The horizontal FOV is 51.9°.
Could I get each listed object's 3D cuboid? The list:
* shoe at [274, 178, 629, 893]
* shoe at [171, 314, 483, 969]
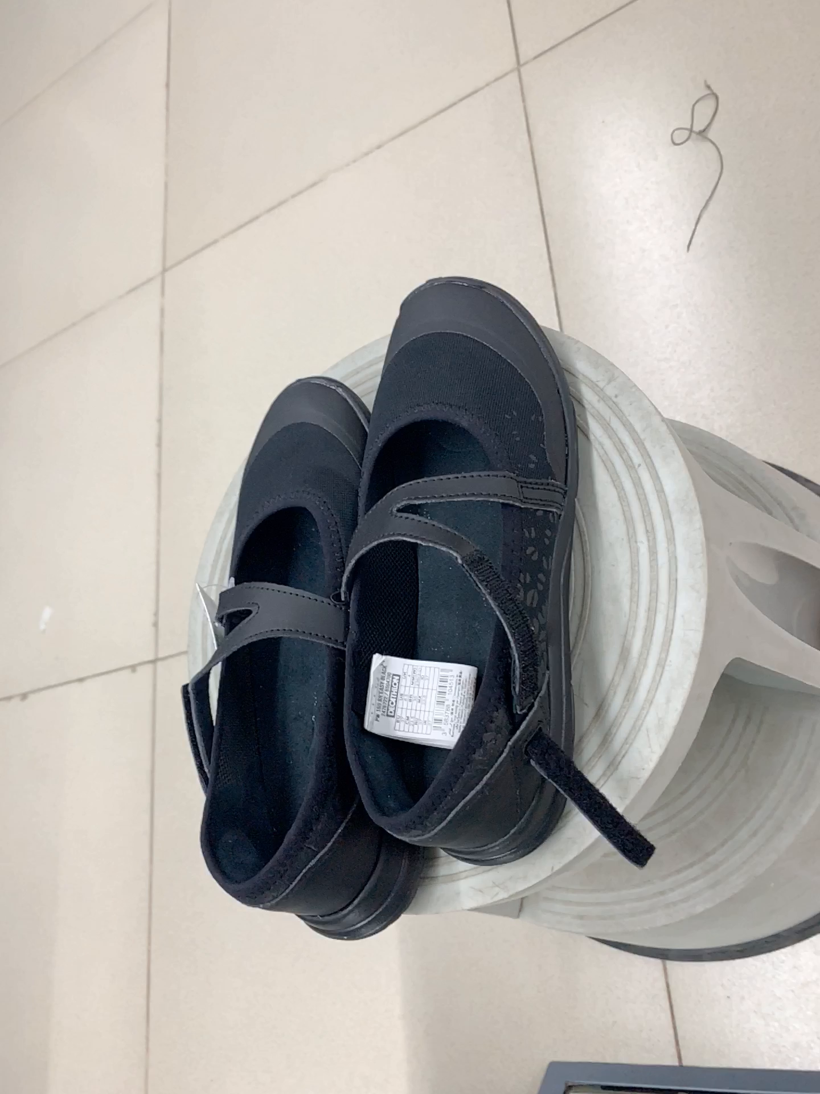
[{"bbox_3d":[0.014,-0.001,0.338,0.100,0.080,0.250,-12,70,31],"label":"shoe"},{"bbox_3d":[-0.043,0.039,0.369,0.090,0.080,0.250,-18,67,29],"label":"shoe"}]
